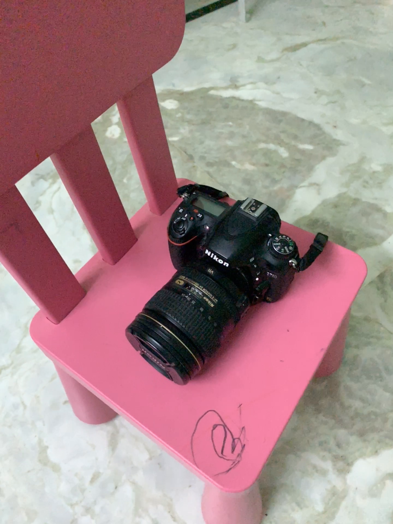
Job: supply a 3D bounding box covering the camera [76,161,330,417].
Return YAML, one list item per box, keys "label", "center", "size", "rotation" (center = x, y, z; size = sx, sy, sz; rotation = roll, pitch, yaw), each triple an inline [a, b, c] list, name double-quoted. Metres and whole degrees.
- label: "camera"
  center: [0.013, 0.016, 0.410]
  size: [0.140, 0.080, 0.210]
  rotation: [31, 63, 21]
